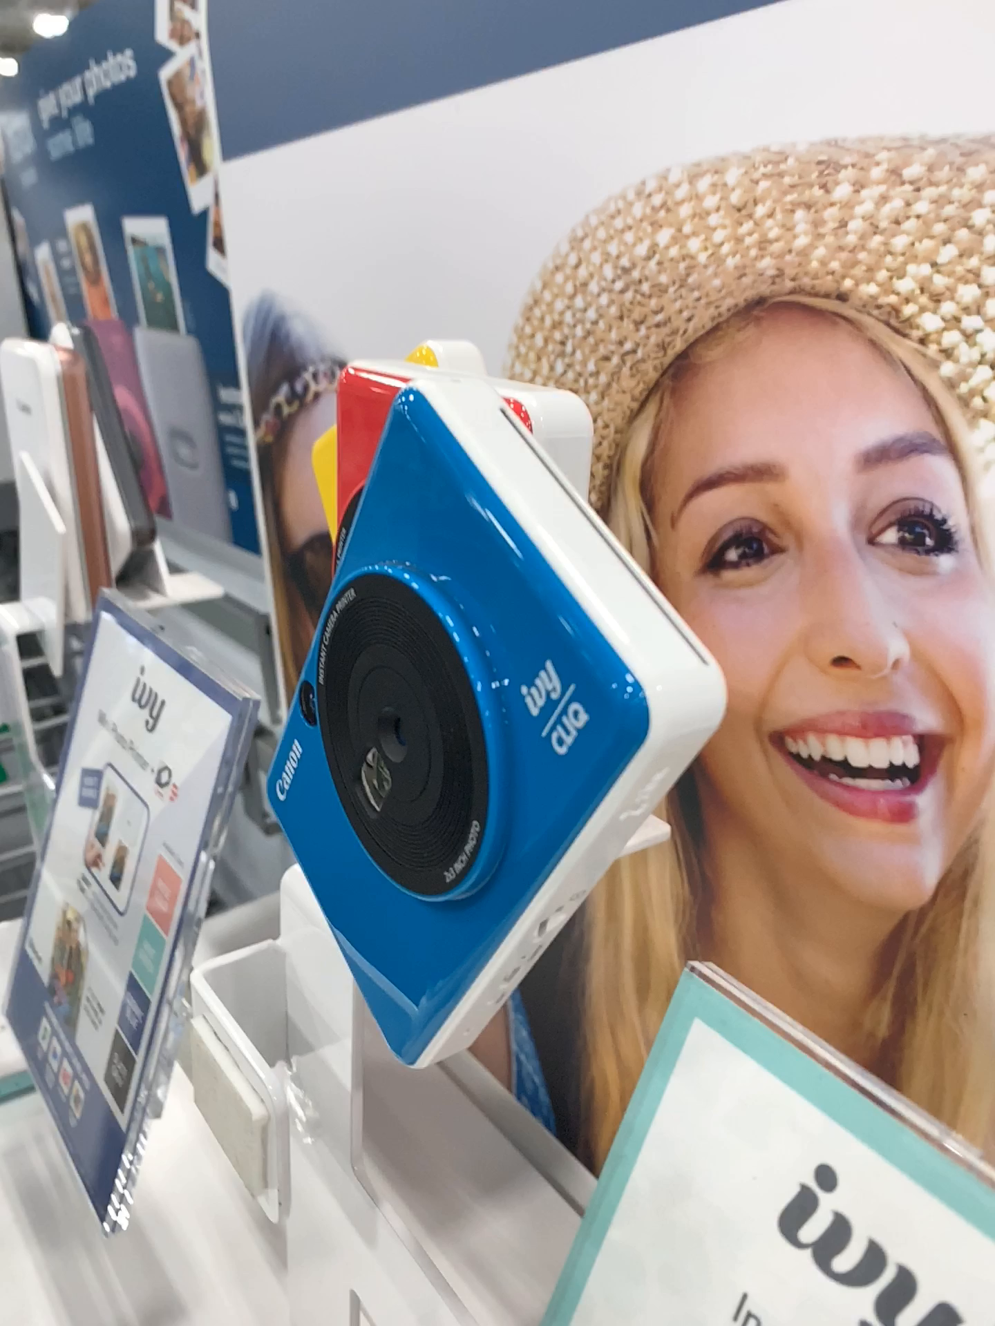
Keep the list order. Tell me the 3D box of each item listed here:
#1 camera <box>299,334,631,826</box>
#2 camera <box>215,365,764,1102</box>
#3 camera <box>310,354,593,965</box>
[{"bbox_3d":[-0.013,-0.018,0.294,0.030,0.123,0.068,-19,0,-28],"label":"camera"},{"bbox_3d":[-0.014,0.017,0.190,0.030,0.113,0.078,-14,57,-35],"label":"camera"},{"bbox_3d":[-0.012,-0.004,0.241,0.030,0.123,0.067,-14,26,-29],"label":"camera"}]
